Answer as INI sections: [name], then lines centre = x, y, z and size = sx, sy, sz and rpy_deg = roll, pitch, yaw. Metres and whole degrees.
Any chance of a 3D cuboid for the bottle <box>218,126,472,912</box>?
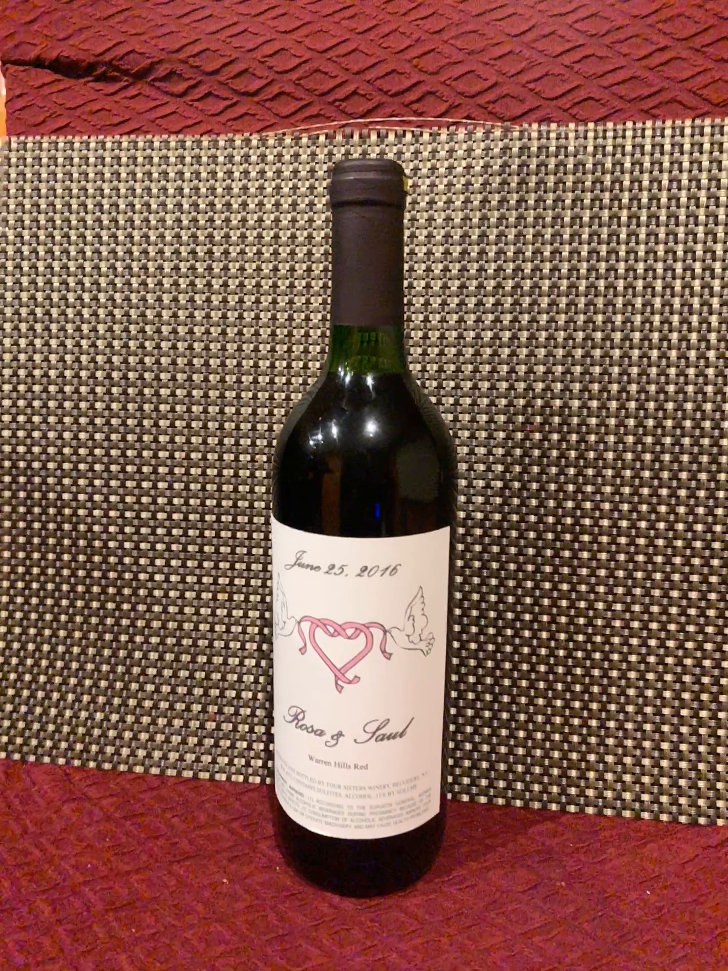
[bottle]
centre = -0.005, 0.019, 0.304
size = 0.080, 0.289, 0.060
rpy_deg = 3, 13, 12
